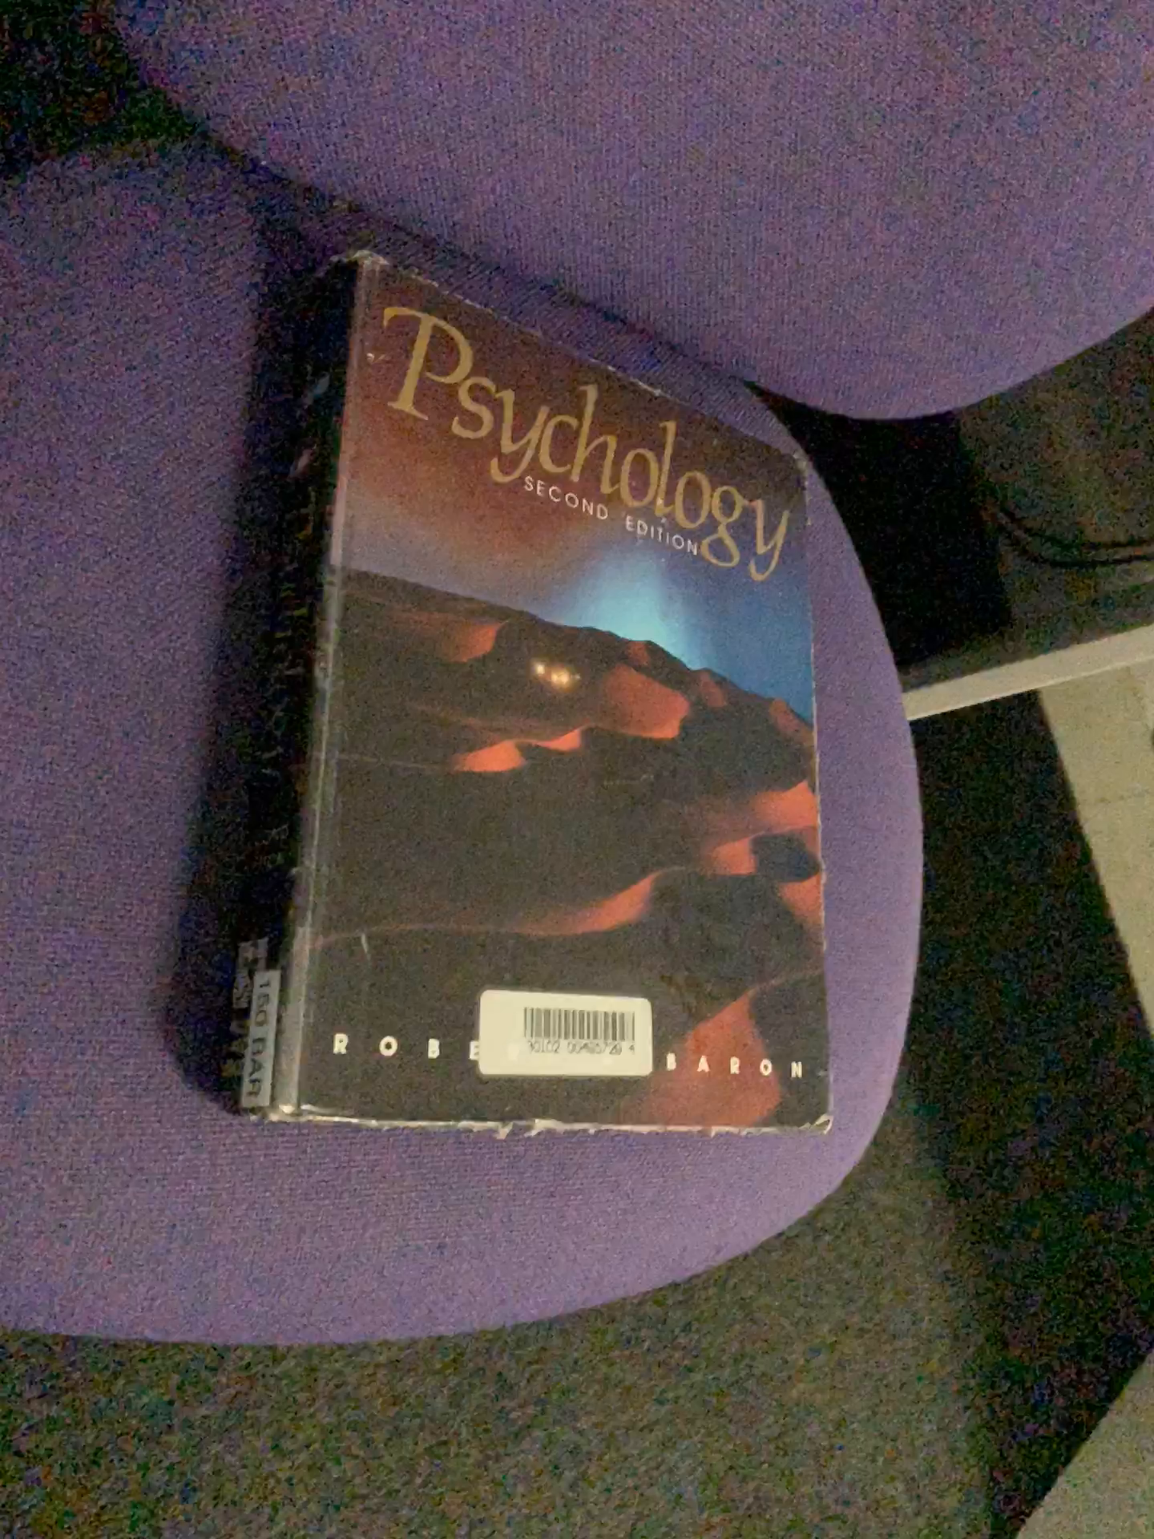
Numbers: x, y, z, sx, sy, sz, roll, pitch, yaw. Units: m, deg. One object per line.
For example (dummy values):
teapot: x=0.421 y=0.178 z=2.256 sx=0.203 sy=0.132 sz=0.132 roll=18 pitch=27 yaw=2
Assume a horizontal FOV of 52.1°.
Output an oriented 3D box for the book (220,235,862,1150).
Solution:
book: x=0.009 y=-0.012 z=0.427 sx=0.231 sy=0.040 sz=0.281 roll=14 pitch=72 yaw=-34
